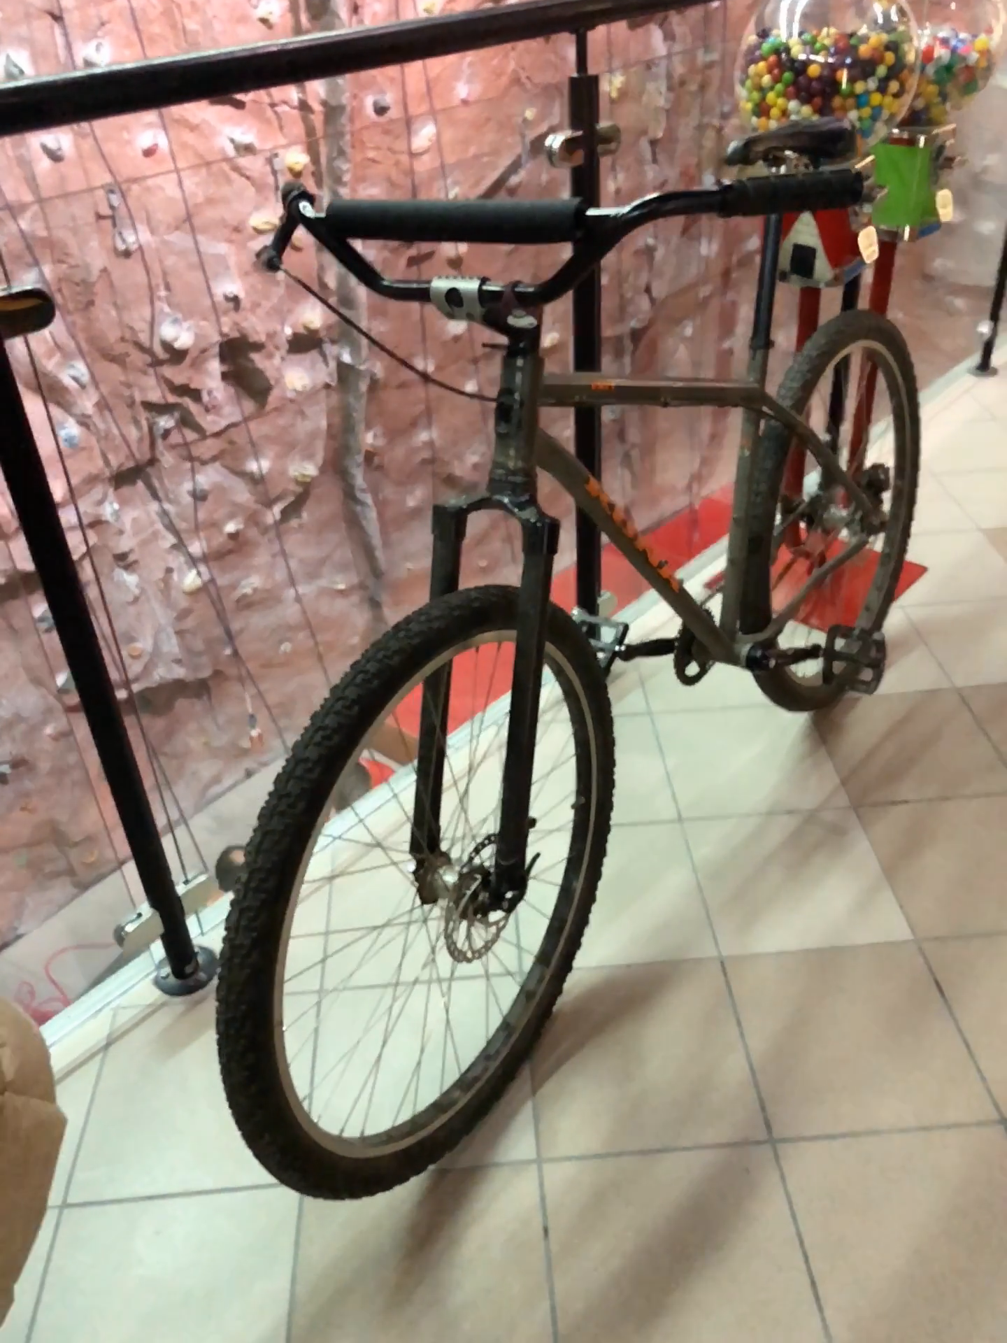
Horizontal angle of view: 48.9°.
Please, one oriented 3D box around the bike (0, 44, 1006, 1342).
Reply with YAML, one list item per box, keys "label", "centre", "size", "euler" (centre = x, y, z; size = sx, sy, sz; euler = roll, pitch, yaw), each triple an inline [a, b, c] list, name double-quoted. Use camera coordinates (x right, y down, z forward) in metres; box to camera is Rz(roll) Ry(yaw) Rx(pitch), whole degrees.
- label: "bike"
  centre: [0.214, -0.226, 1.608]
  size: [0.750, 1.099, 1.828]
  euler: [20, 39, 31]
